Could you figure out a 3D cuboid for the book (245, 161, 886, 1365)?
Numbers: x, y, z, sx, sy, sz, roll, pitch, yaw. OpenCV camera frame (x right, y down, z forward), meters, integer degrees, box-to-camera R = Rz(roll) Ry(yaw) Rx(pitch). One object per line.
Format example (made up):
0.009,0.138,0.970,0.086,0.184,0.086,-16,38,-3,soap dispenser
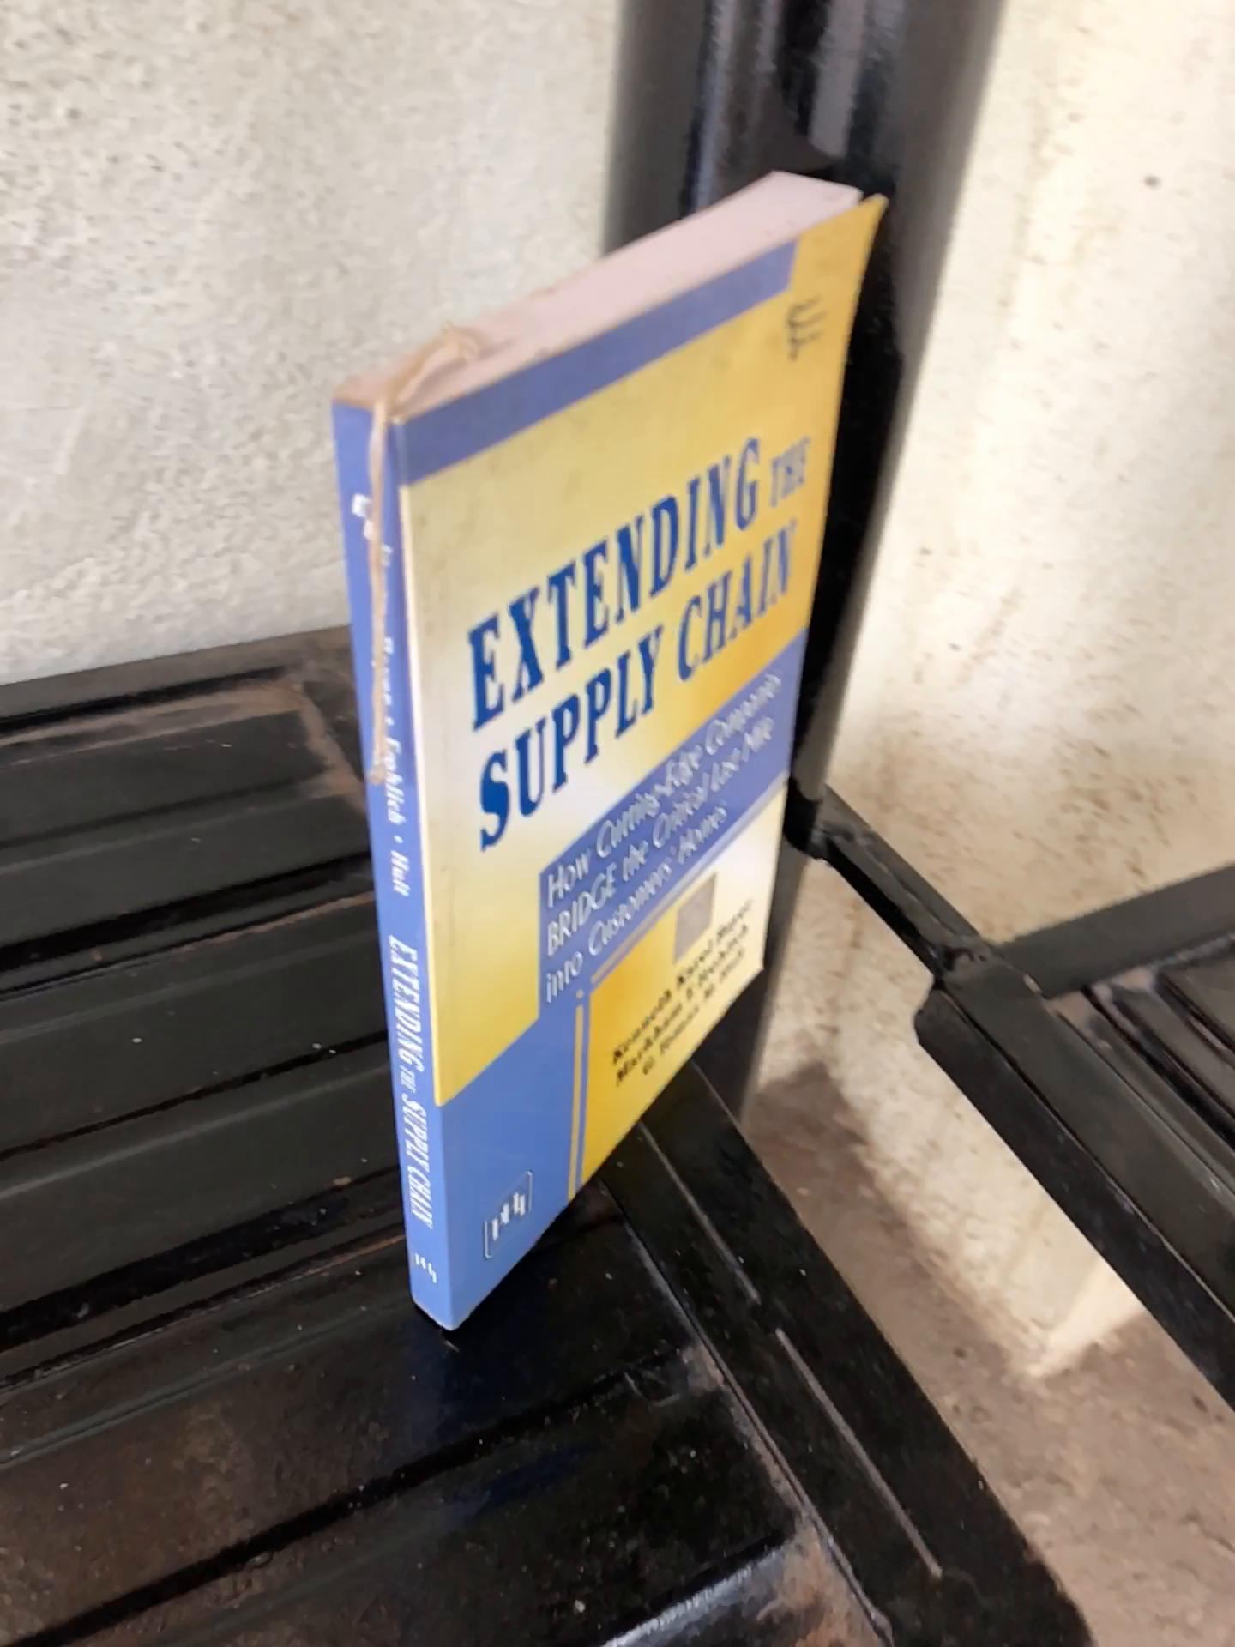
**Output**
-0.004,-0.009,0.305,0.030,0.229,0.151,23,41,24,book
